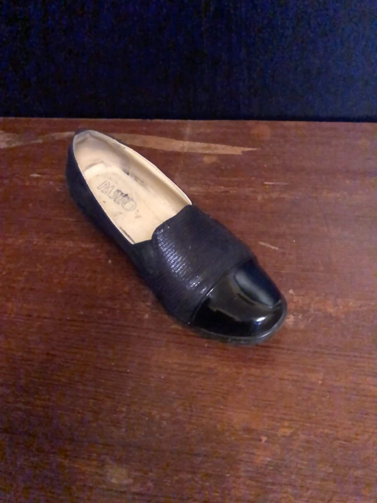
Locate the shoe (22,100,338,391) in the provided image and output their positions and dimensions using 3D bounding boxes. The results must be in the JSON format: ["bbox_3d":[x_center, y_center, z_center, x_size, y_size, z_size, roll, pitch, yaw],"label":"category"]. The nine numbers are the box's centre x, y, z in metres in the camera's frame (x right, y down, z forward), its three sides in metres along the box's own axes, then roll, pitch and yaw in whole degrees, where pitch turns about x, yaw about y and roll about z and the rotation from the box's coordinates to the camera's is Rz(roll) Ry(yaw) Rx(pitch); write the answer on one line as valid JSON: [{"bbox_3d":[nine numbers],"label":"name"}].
[{"bbox_3d":[-0.019,-0.021,0.328,0.089,0.090,0.236,-37,54,-24],"label":"shoe"}]
